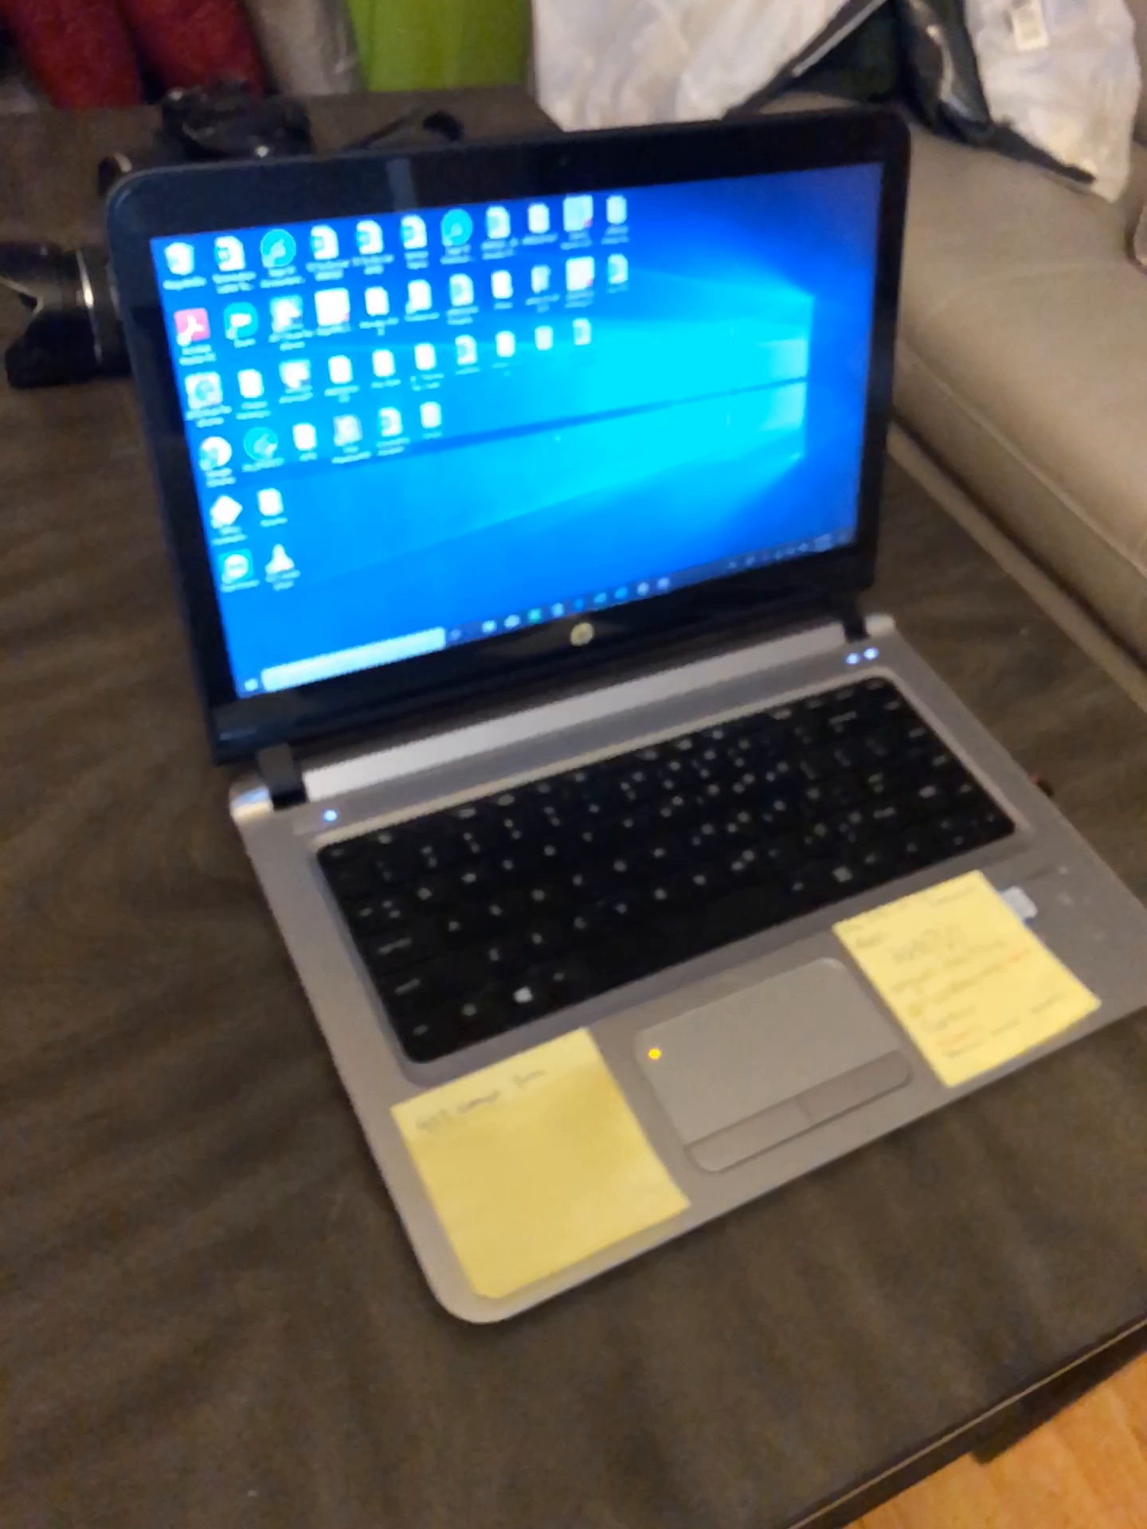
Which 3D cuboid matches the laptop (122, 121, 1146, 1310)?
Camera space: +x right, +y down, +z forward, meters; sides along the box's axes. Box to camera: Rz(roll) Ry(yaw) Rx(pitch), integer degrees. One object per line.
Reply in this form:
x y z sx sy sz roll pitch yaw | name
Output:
0.053 -0.049 0.465 0.320 0.208 0.307 -17 54 -23 | laptop
